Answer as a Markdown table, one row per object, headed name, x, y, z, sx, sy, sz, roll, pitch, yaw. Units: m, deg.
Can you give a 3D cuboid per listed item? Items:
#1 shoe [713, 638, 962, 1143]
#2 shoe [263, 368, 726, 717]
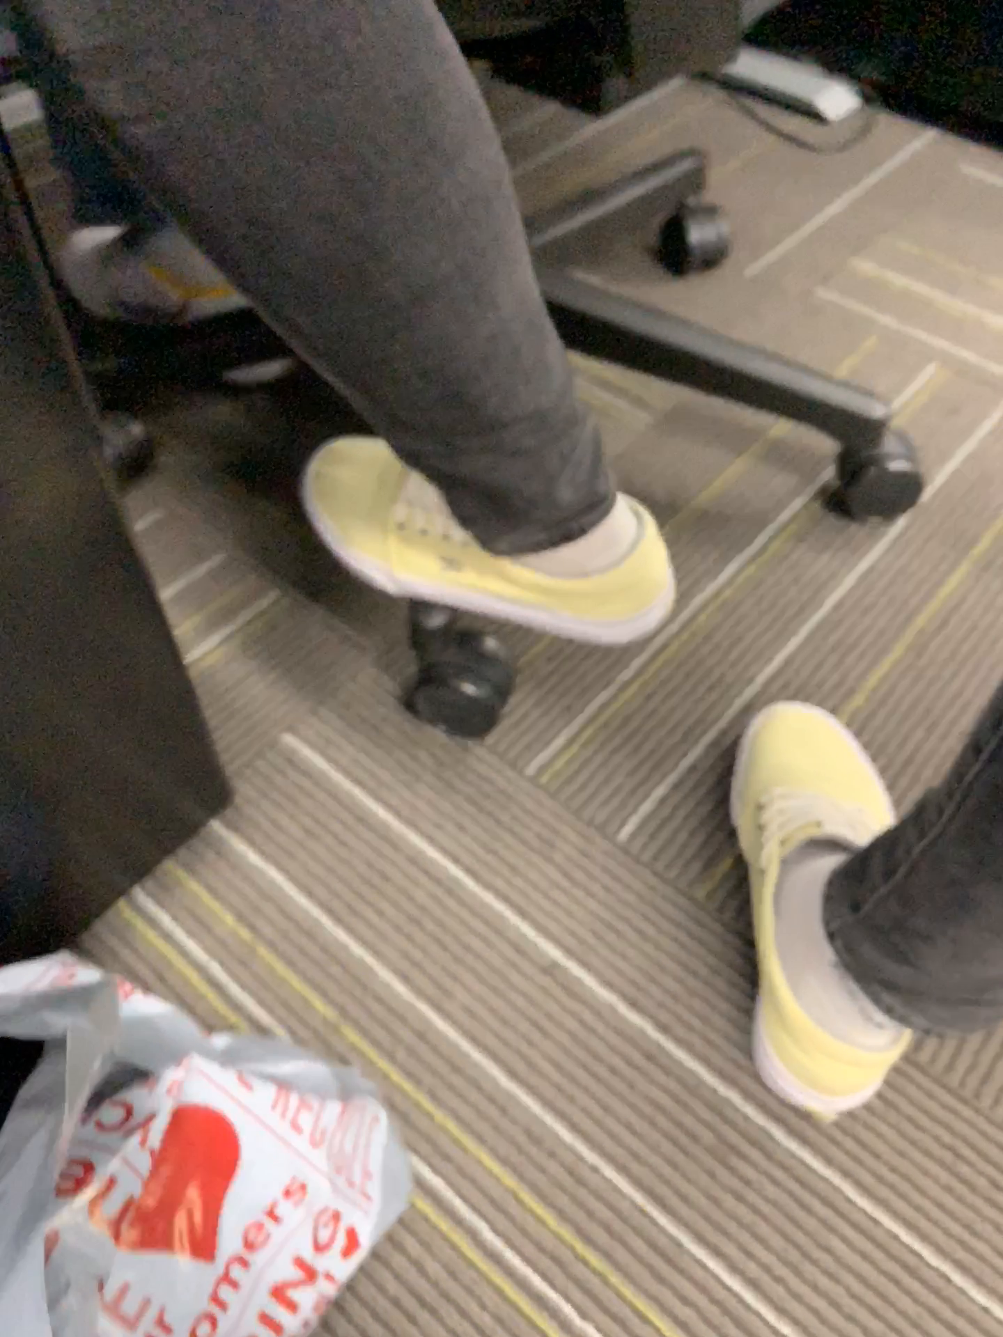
| name | x | y | z | sx | sy | sz | roll | pitch | yaw |
| --- | --- | --- | --- | --- | --- | --- | --- | --- | --- |
| shoe | 0.188 | 0.122 | 0.628 | 0.102 | 0.101 | 0.269 | 6 | 52 | 5 |
| shoe | -0.007 | -0.084 | 0.660 | 0.260 | 0.096 | 0.098 | 24 | 55 | 17 |
